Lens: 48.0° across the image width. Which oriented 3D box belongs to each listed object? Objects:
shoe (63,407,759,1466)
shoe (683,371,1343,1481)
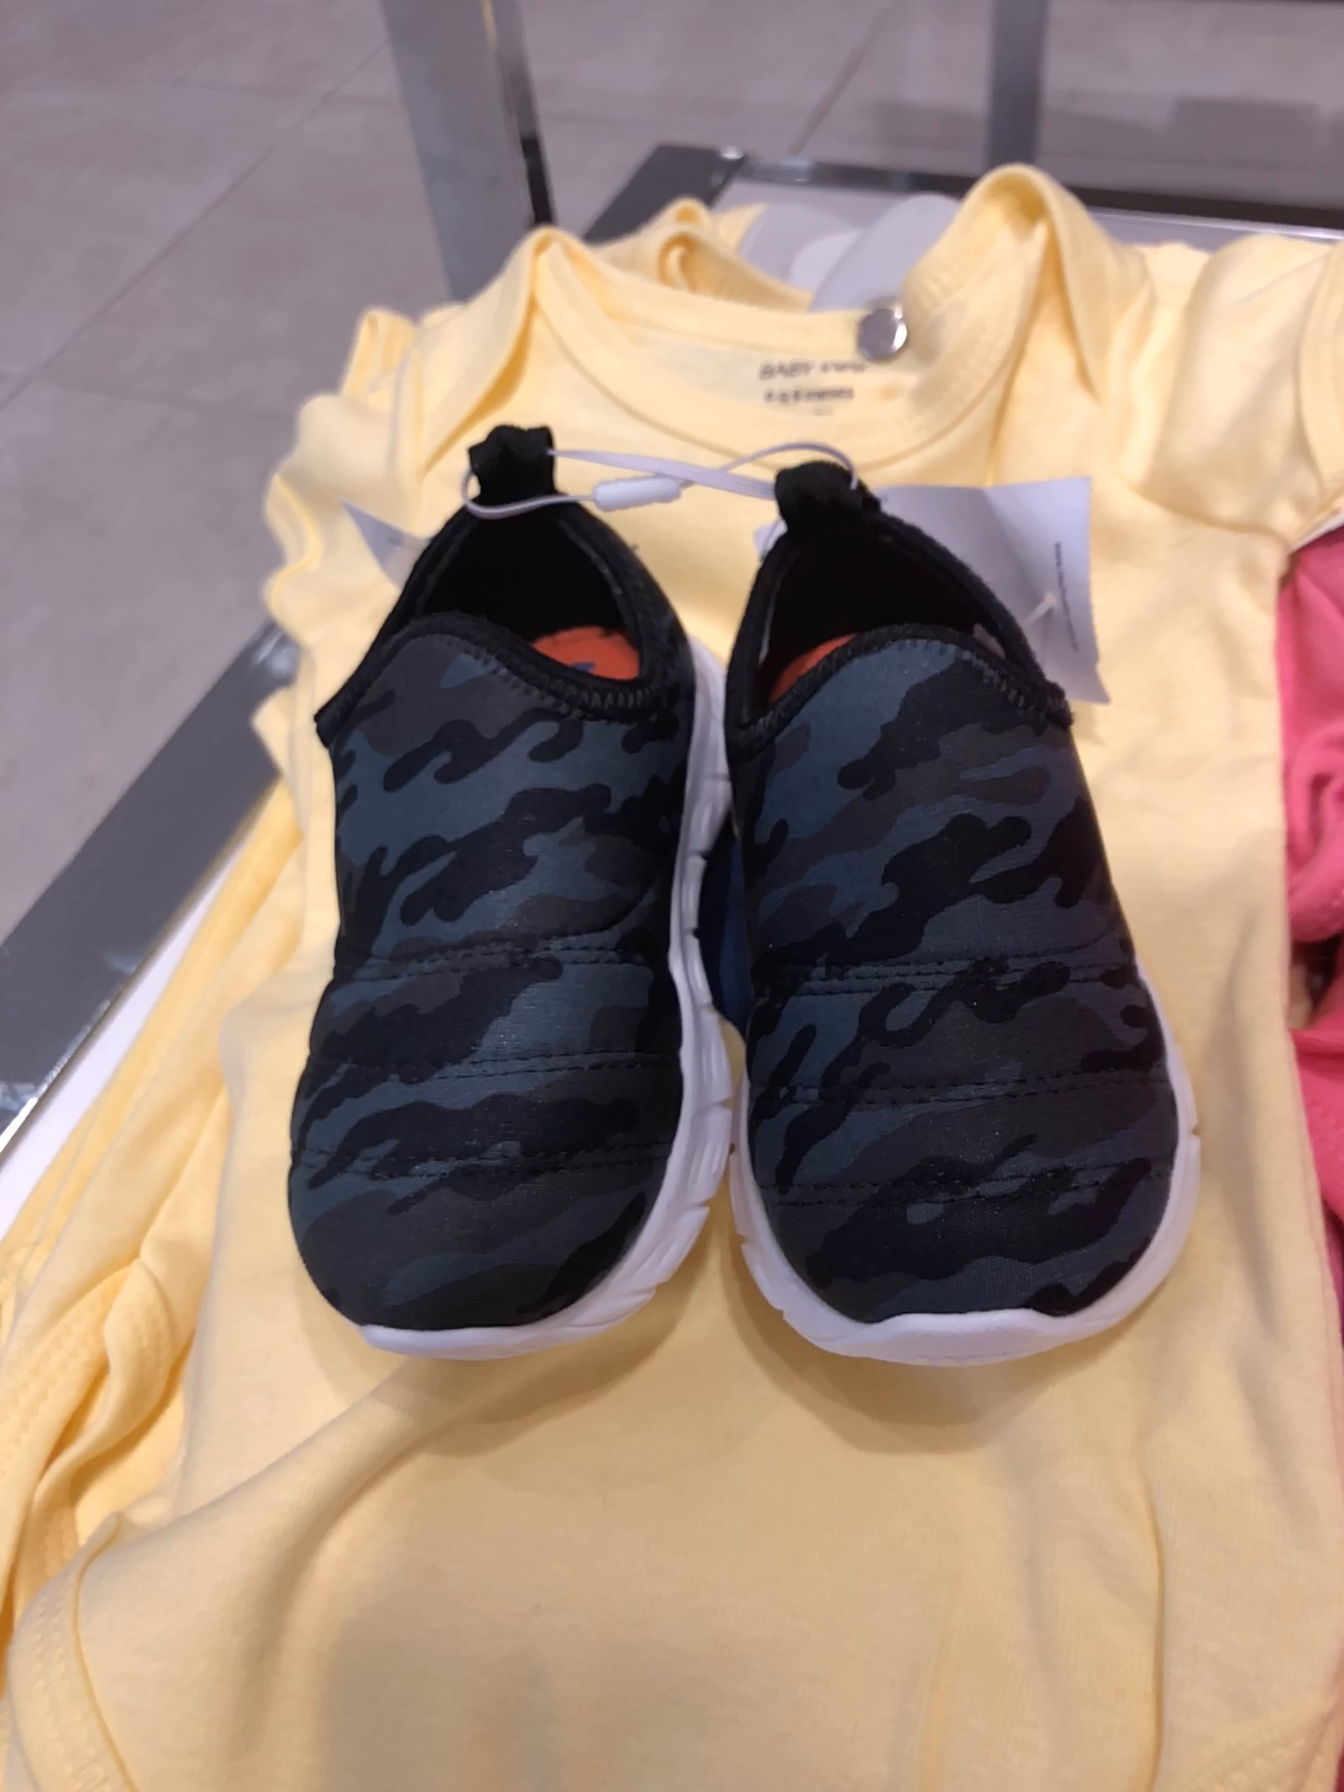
[{"bbox_3d":[-0.025,0.001,0.244,0.070,0.080,0.151,-1,51,7],"label":"shoe"},{"bbox_3d":[0.045,-0.002,0.229,0.070,0.070,0.151,-6,51,3],"label":"shoe"}]
